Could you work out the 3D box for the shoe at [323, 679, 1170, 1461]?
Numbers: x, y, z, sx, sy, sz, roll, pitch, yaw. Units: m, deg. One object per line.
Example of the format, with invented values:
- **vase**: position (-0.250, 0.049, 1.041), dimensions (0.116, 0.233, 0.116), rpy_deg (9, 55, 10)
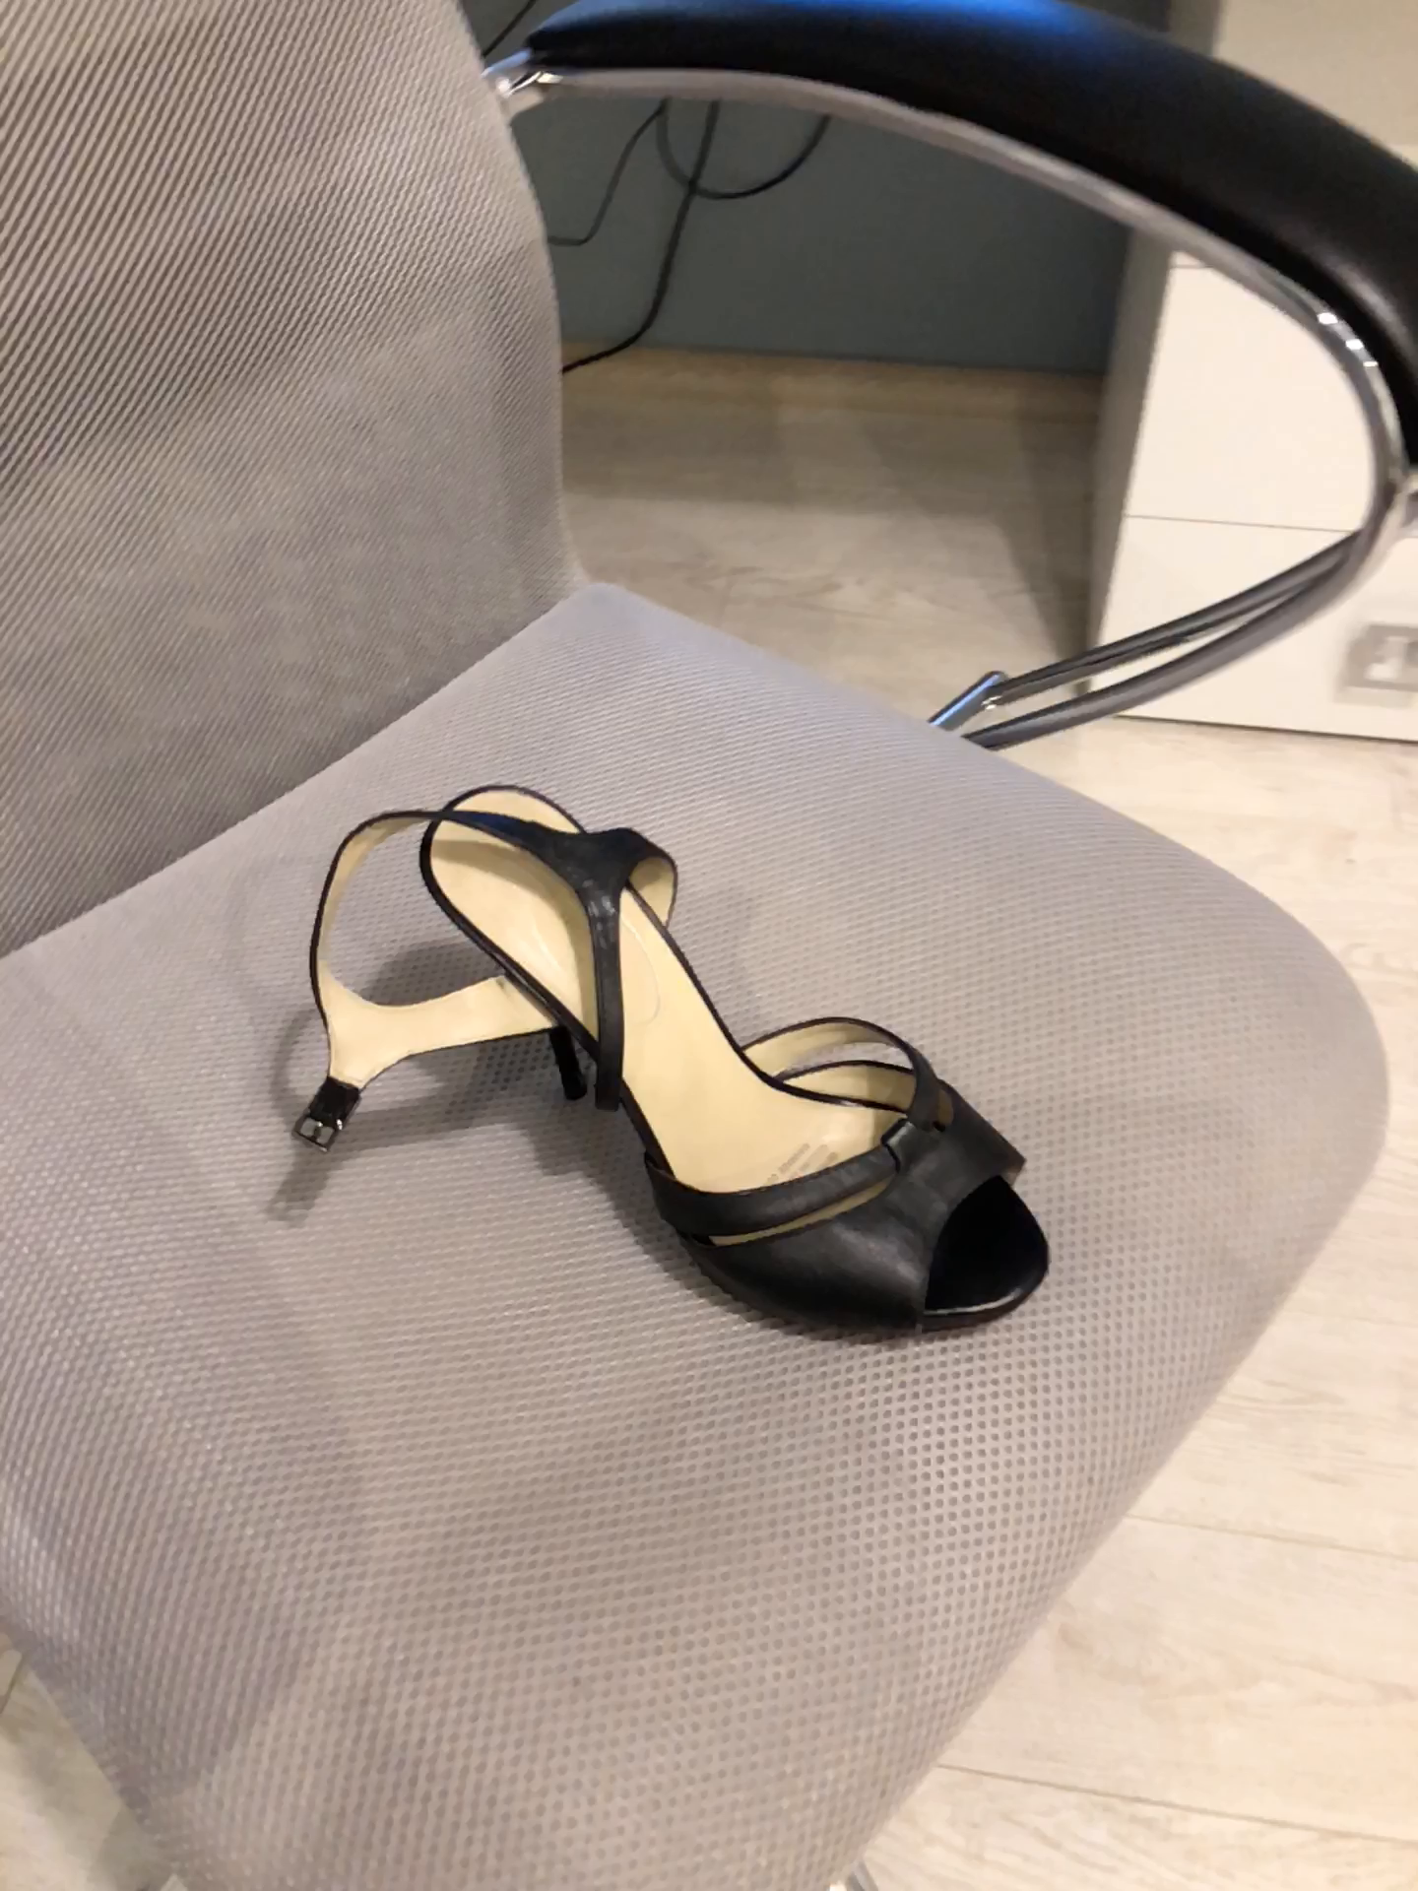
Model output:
- **shoe**: position (0.006, 0.031, 0.456), dimensions (0.210, 0.119, 0.090), rpy_deg (28, 56, 24)
